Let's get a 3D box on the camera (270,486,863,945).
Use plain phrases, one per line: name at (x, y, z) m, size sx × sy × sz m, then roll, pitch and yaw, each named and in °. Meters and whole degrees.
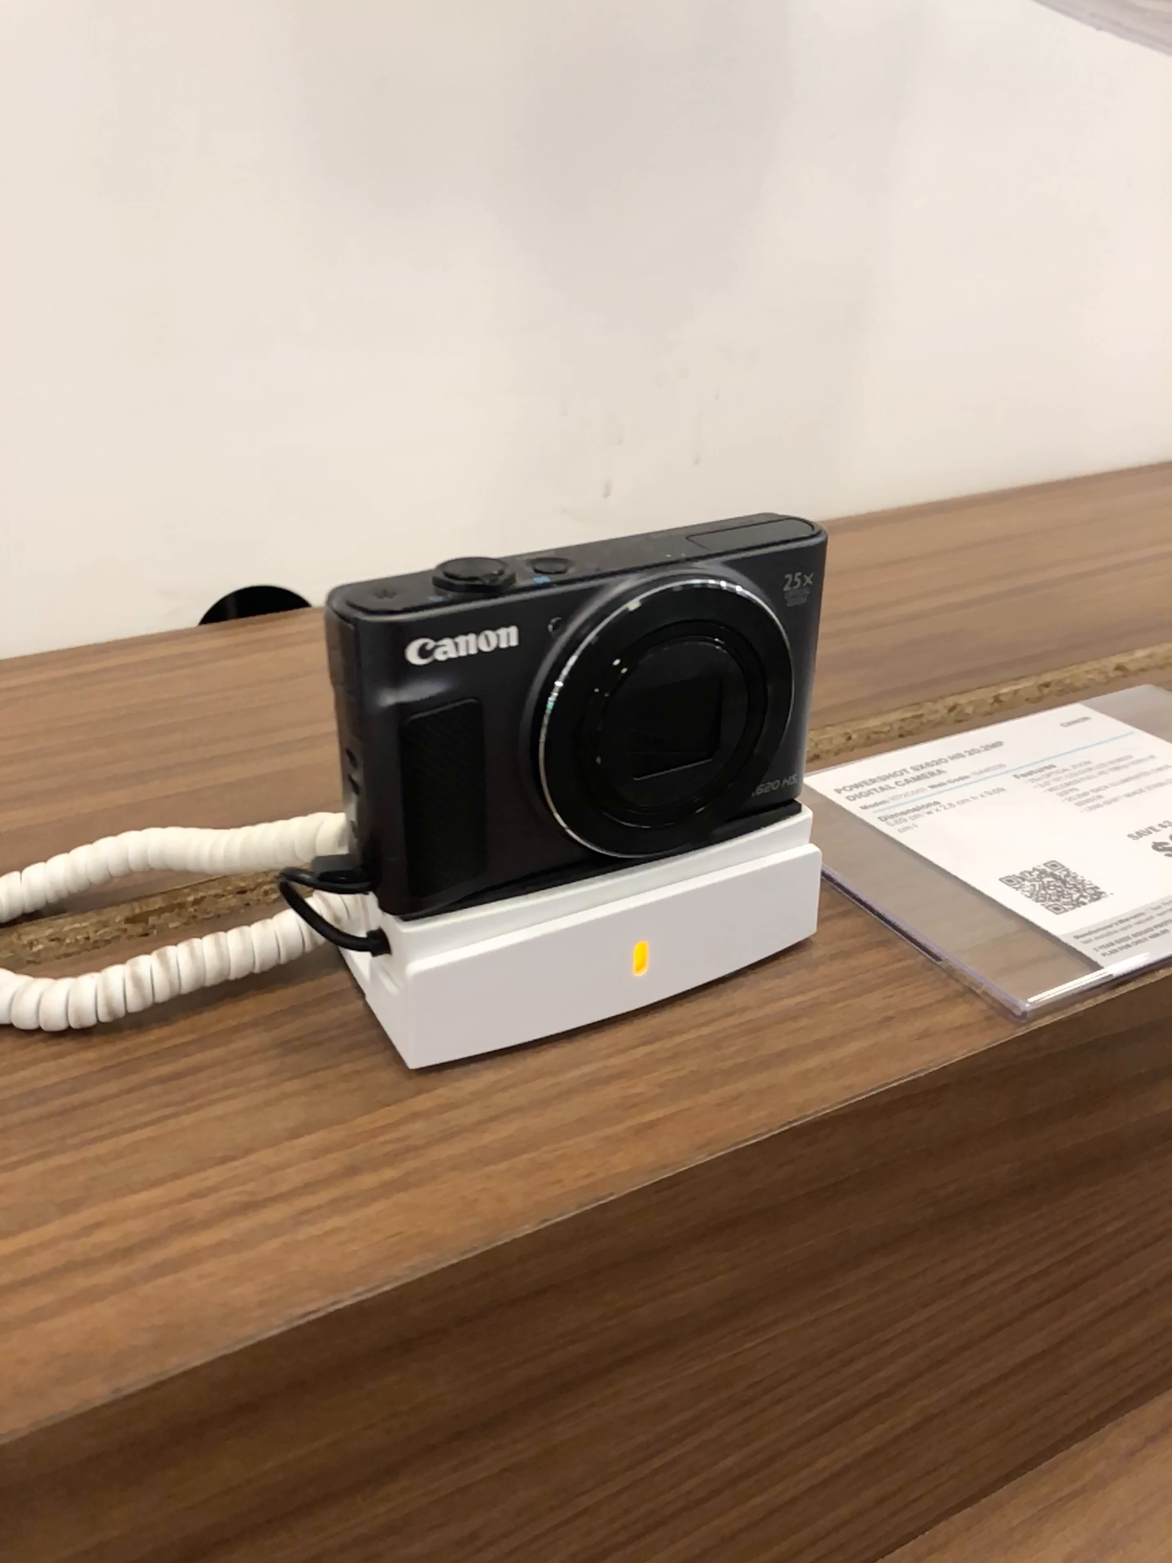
camera at (-0.001, -0.016, 0.240) m, size 0.100 × 0.060 × 0.030 m, roll -13°, pitch 28°, yaw -24°
